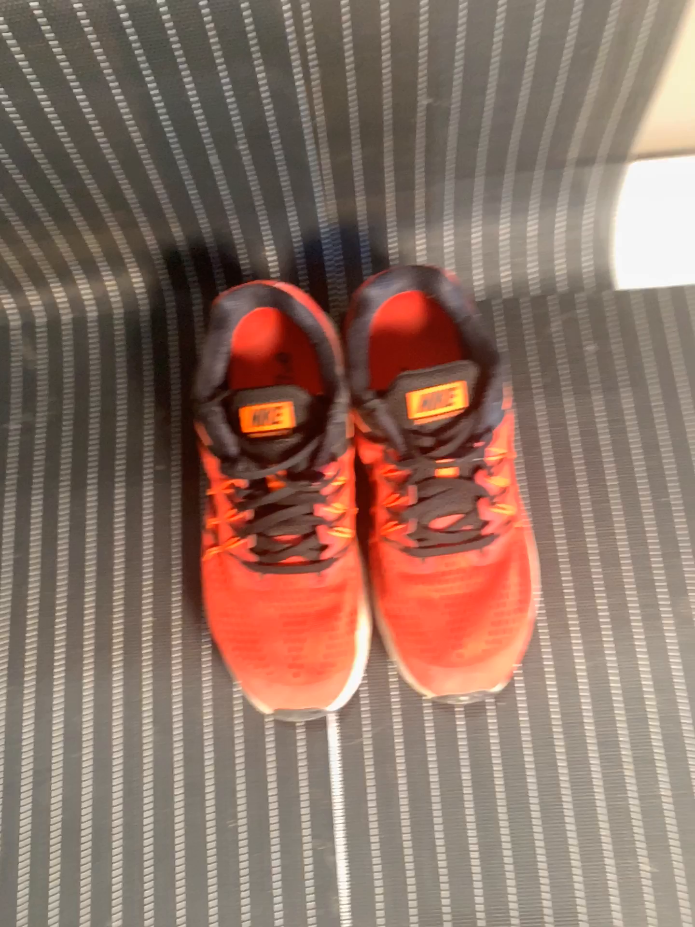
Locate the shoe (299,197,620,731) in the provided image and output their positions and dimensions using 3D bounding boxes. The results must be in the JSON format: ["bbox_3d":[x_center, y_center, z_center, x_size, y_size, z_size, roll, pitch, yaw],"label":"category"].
[{"bbox_3d":[0.053,0.002,0.425,0.120,0.110,0.270,-8,75,1],"label":"shoe"}]

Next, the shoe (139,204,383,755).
[{"bbox_3d":[-0.052,0.009,0.446,0.120,0.110,0.300,-5,75,2],"label":"shoe"}]
